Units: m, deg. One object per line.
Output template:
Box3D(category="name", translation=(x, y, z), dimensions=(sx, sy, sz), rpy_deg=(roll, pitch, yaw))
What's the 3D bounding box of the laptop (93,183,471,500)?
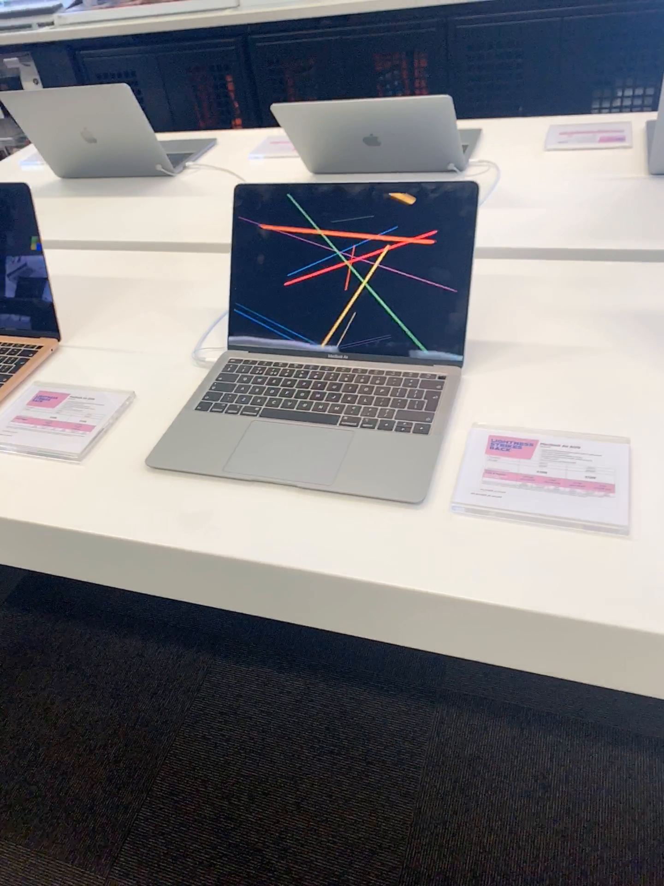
Box3D(category="laptop", translation=(-0.020, -0.134, 0.732), dimensions=(0.289, 0.160, 0.331), rpy_deg=(6, 43, 18))
